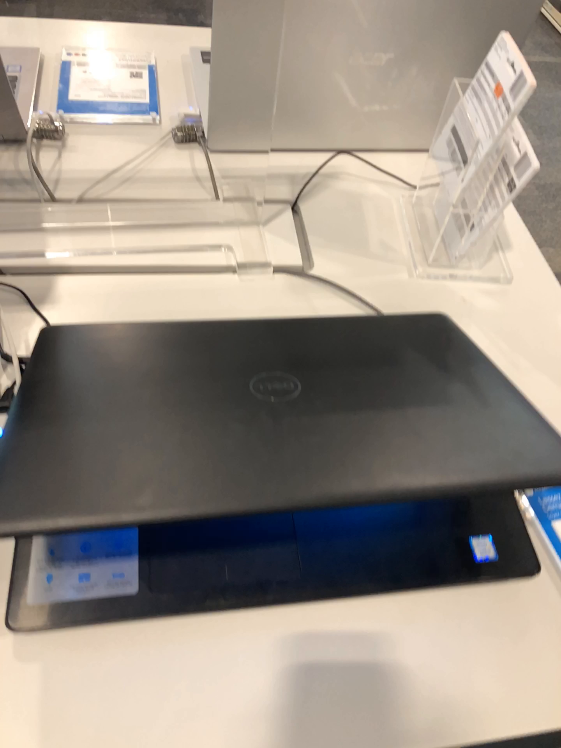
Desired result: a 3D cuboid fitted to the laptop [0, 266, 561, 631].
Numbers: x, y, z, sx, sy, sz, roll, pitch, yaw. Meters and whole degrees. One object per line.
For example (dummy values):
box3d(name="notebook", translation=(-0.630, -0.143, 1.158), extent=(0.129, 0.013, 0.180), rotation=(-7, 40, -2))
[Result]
box3d(name="laptop", translation=(0.003, 0.033, 0.464), extent=(0.365, 0.080, 0.245), rotation=(-2, 52, -10))
